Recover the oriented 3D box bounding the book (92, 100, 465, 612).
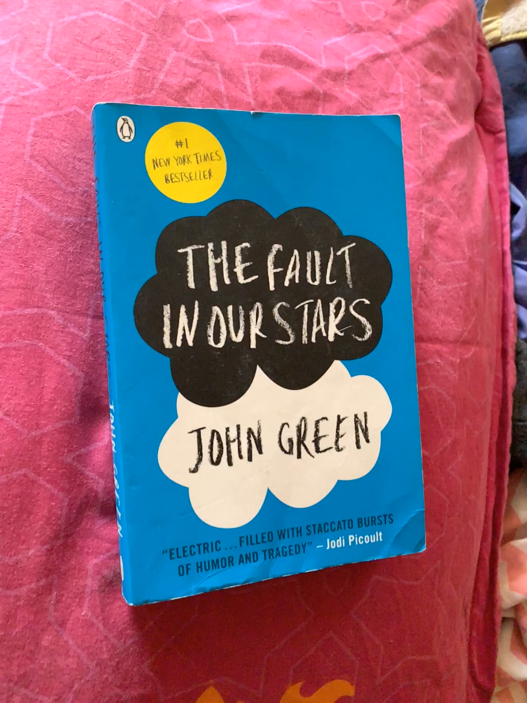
[{"bbox_3d":[0.006,-0.005,0.222,0.130,0.030,0.179,-4,86,-16],"label":"book"}]
